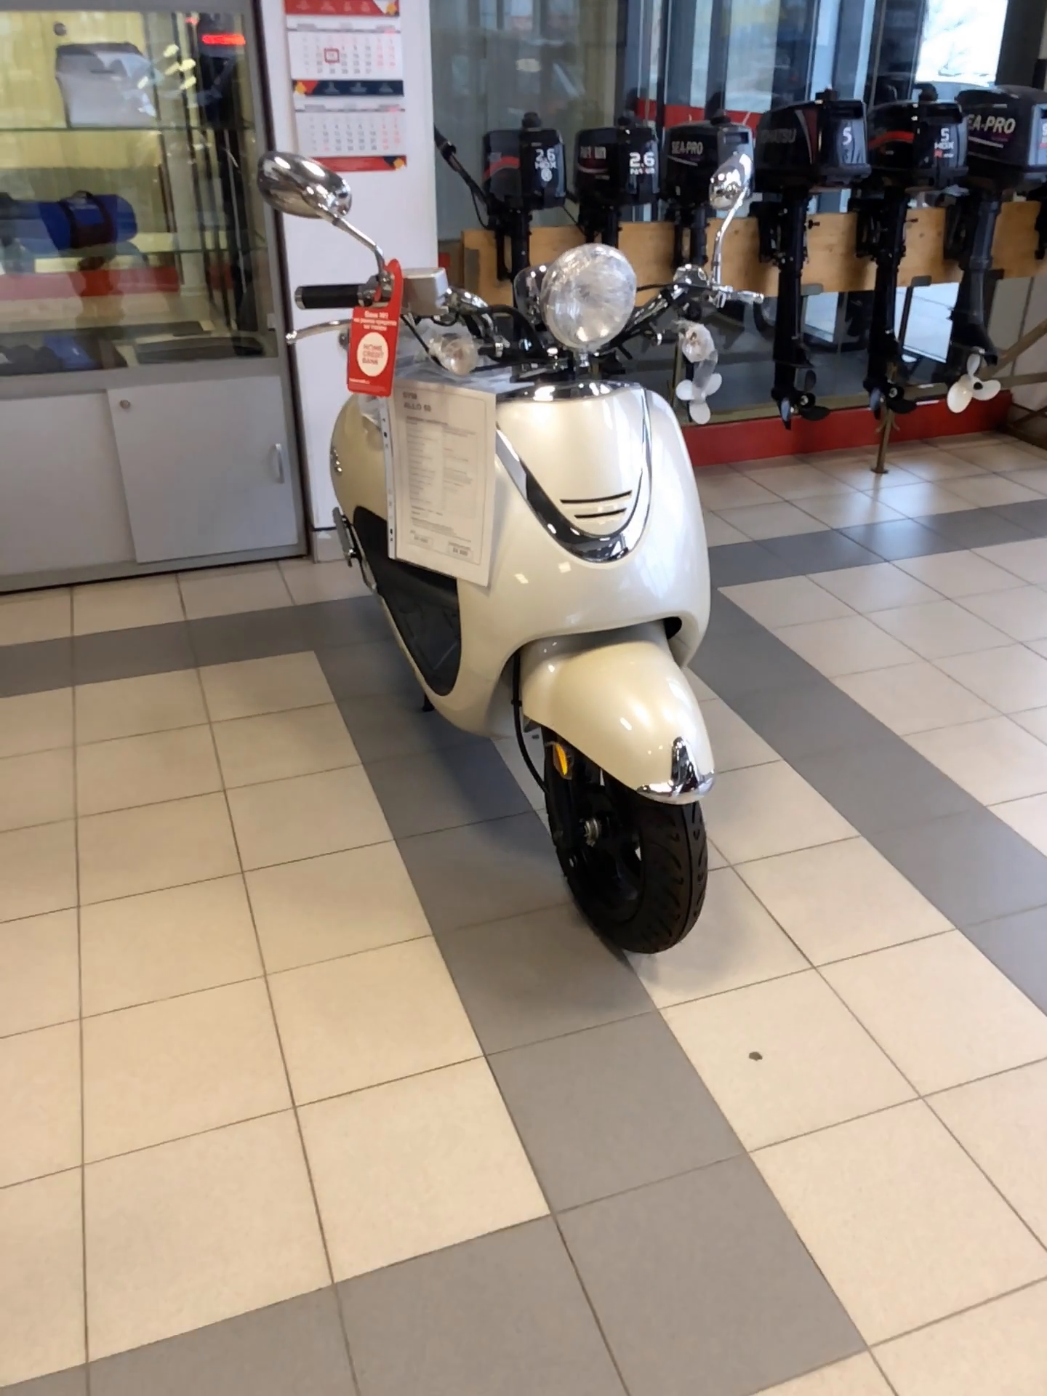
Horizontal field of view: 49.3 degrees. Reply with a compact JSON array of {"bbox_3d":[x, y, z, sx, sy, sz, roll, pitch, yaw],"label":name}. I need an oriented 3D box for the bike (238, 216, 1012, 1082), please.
[{"bbox_3d":[-0.006,-0.309,2.338,0.805,0.963,1.690,-9,33,-17],"label":"bike"}]
